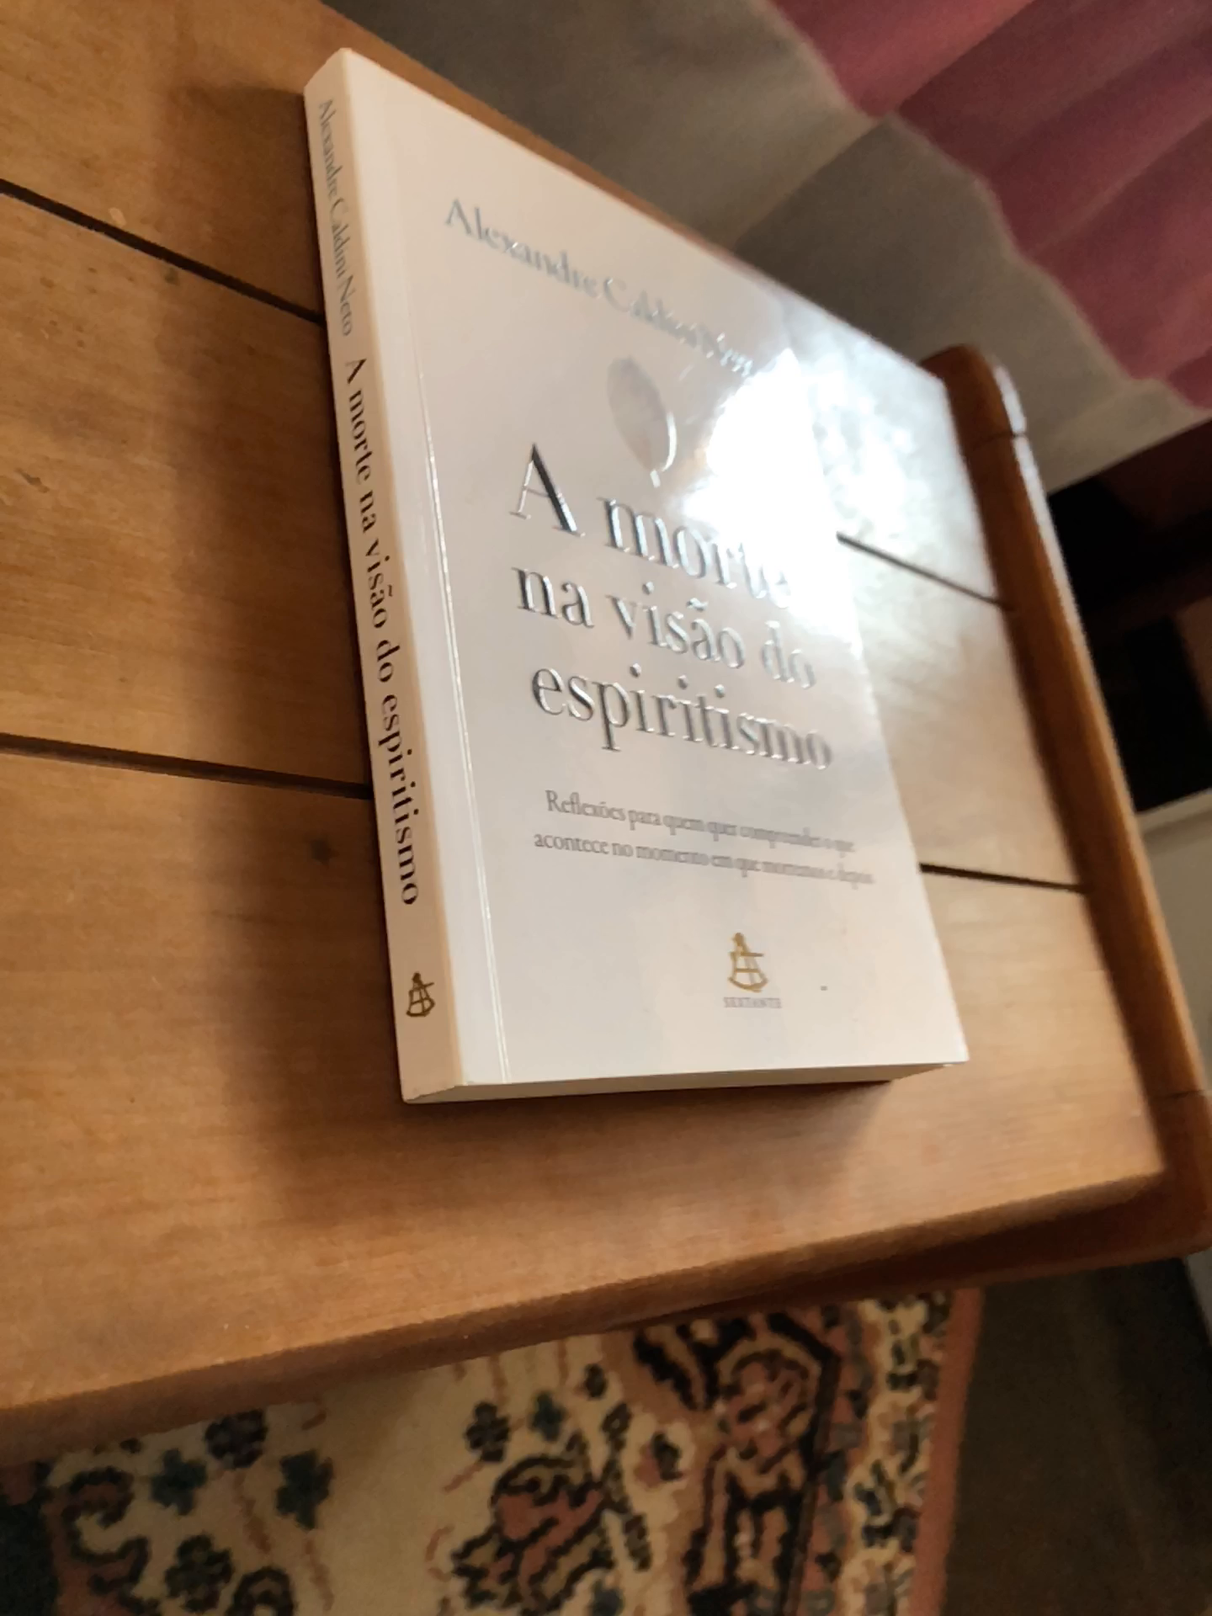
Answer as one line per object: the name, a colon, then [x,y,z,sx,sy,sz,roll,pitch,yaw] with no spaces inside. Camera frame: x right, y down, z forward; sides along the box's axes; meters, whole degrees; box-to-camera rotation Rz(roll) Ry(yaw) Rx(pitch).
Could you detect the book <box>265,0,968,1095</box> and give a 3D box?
book: [0.005,-0.046,0.270,0.136,0.020,0.196,9,64,-43]
